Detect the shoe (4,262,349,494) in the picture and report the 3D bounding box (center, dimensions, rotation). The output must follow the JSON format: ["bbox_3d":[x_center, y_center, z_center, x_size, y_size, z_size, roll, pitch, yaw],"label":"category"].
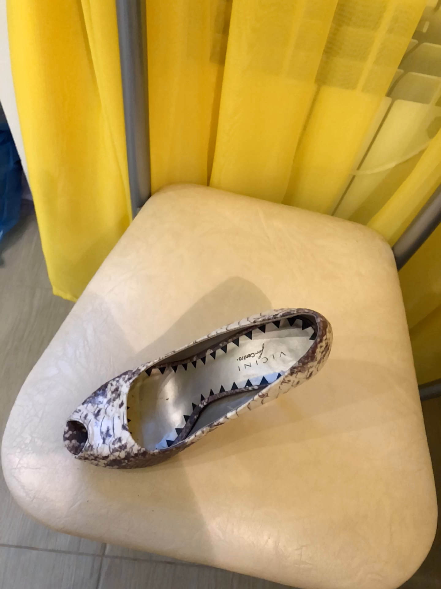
[{"bbox_3d":[-0.032,0.066,0.361,0.200,0.129,0.080,-15,67,-15],"label":"shoe"}]
